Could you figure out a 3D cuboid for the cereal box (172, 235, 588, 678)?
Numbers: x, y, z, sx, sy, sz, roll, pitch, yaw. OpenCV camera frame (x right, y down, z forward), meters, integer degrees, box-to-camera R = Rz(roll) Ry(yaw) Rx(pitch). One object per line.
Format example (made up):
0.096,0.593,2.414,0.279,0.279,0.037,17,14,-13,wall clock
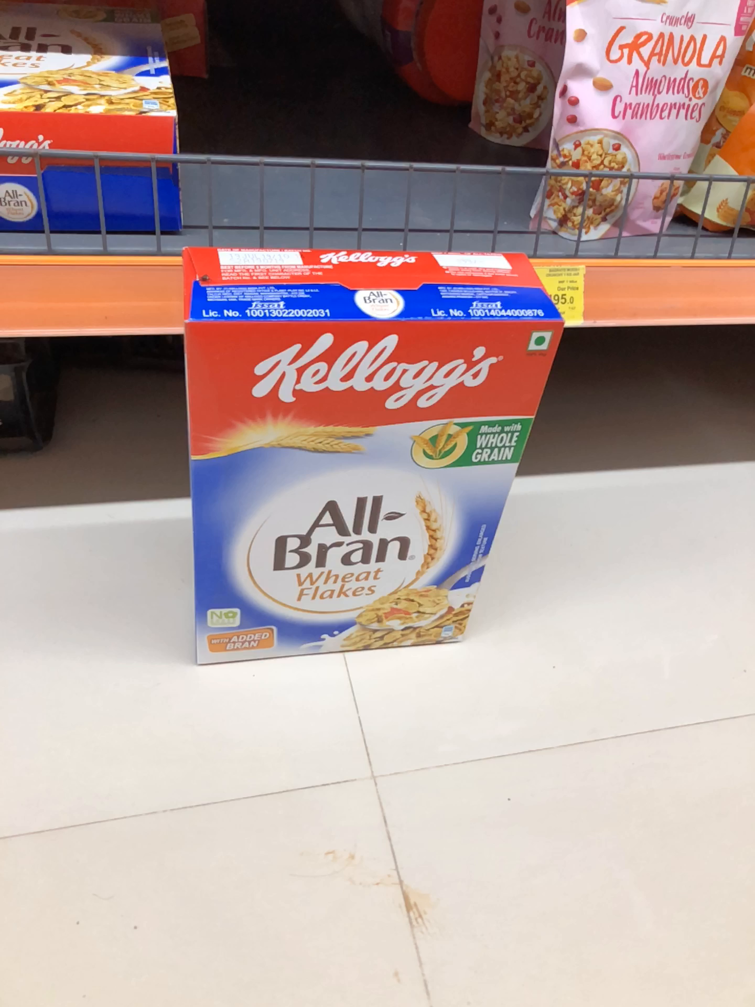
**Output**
-0.017,-0.015,0.489,0.190,0.258,0.080,-3,45,-14,cereal box
